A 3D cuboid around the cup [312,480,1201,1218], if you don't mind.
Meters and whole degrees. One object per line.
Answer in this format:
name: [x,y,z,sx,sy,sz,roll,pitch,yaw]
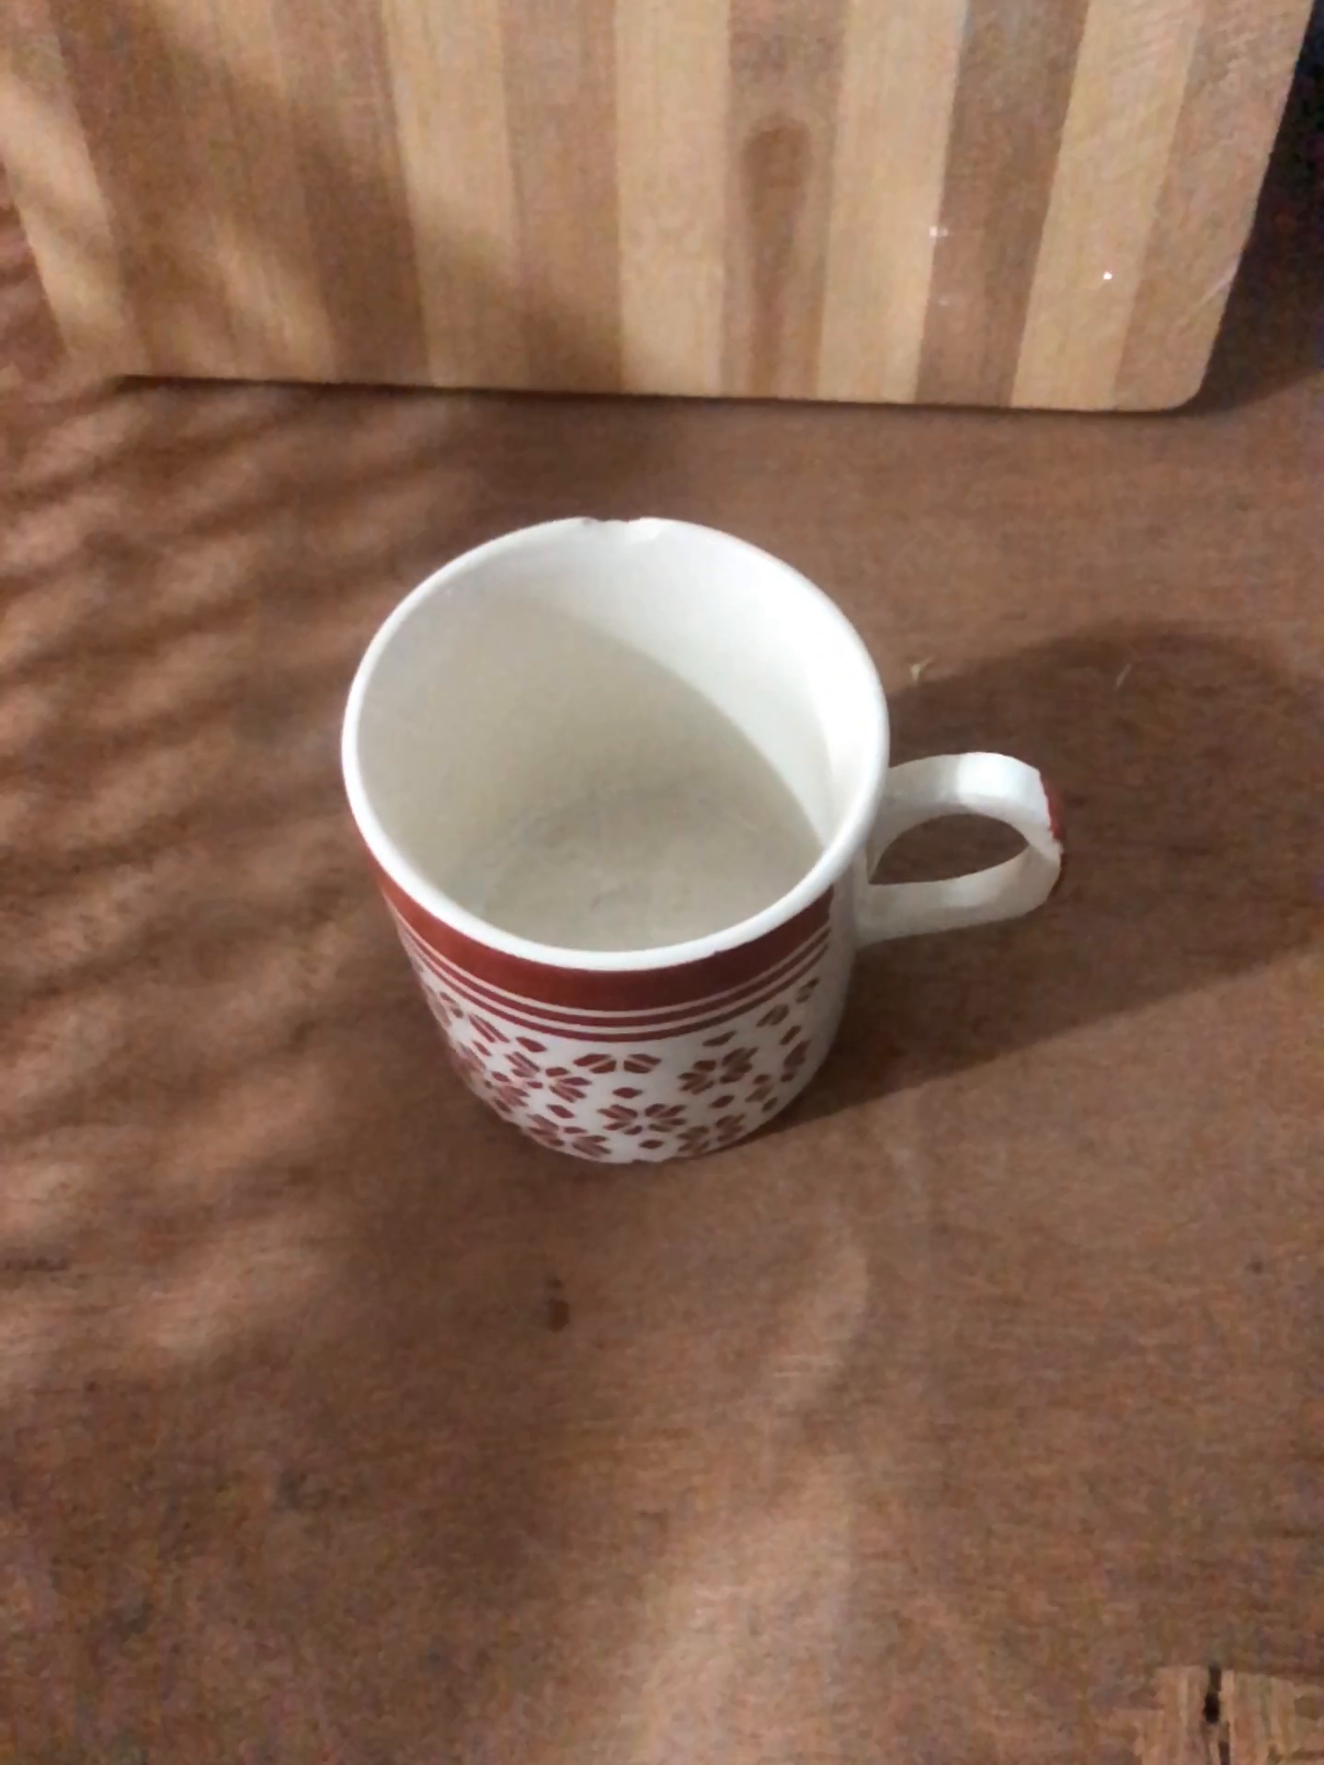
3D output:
cup: [0.009,0.001,0.200,0.090,0.080,0.060,-5,62,0]
